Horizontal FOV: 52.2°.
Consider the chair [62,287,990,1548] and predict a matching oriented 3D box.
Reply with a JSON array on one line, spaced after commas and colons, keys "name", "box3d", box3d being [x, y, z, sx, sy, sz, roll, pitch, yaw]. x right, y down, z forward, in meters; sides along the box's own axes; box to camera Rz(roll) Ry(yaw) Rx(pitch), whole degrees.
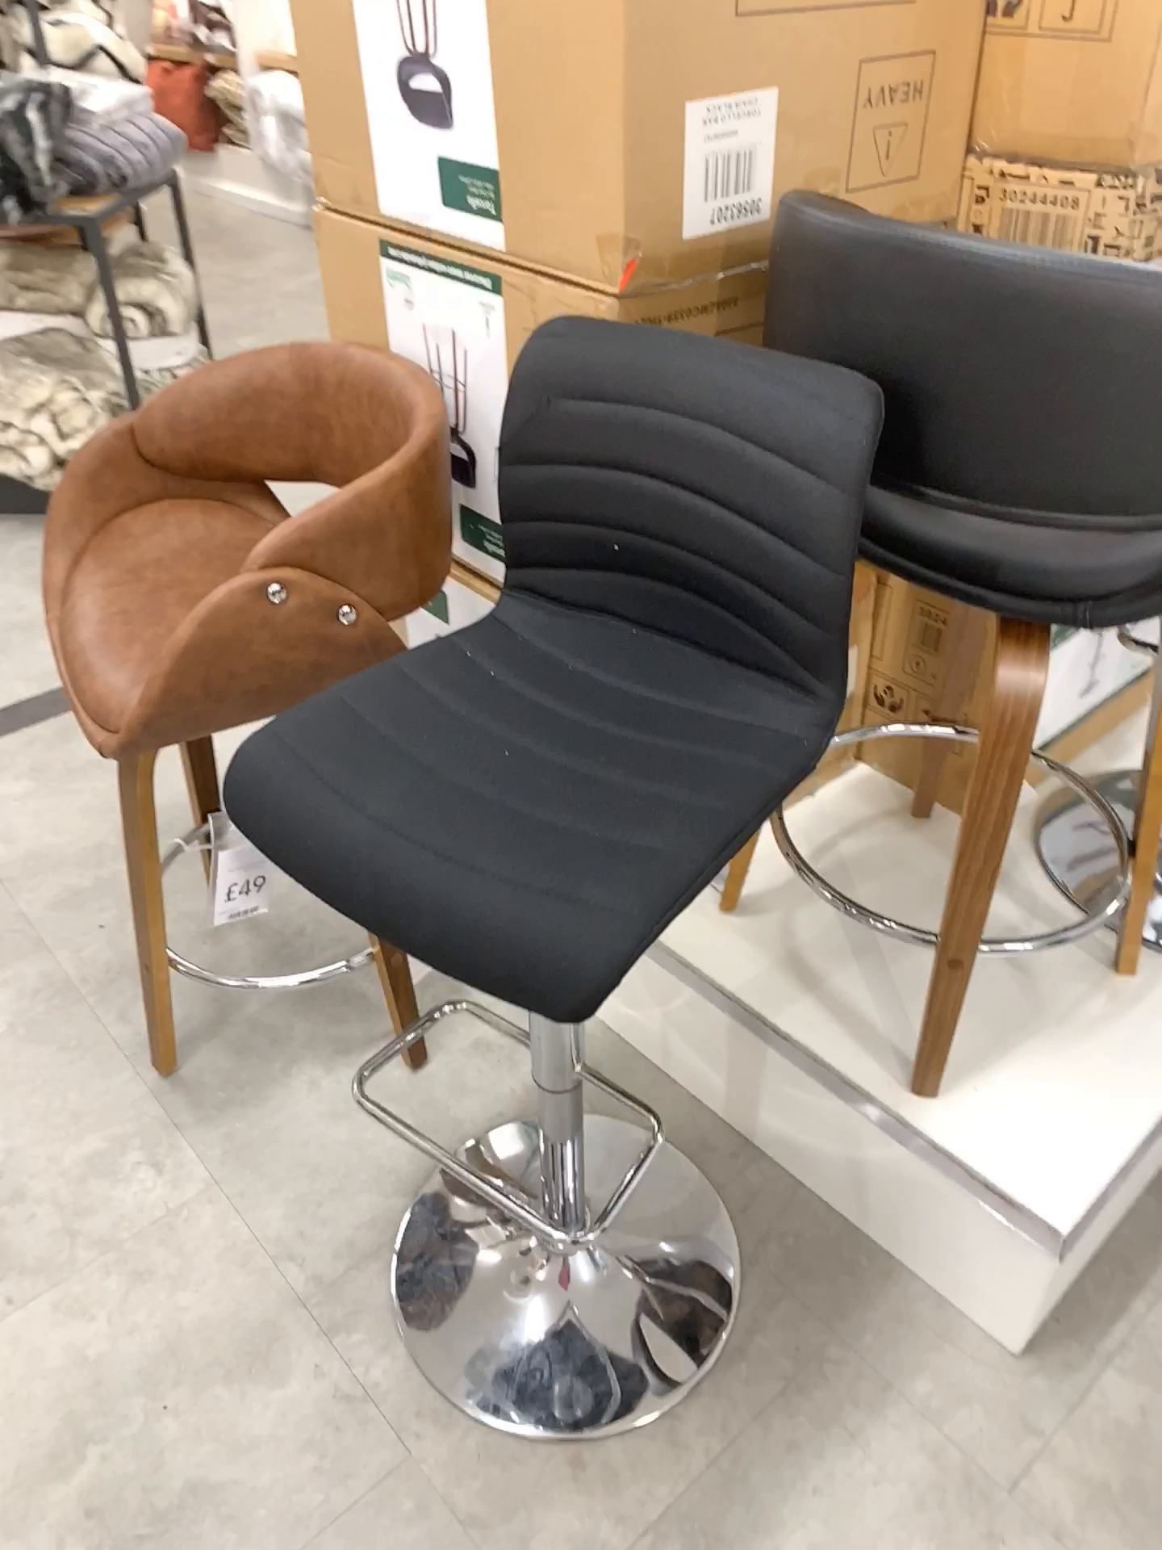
[{"name": "chair", "box3d": [-0.020, 0.146, 1.115, 0.455, 0.994, 0.471, 24, 42, 30]}]

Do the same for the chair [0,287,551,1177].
[{"name": "chair", "box3d": [-0.398, -0.069, 1.505, 0.519, 0.875, 0.528, -18, 39, -23]}]
